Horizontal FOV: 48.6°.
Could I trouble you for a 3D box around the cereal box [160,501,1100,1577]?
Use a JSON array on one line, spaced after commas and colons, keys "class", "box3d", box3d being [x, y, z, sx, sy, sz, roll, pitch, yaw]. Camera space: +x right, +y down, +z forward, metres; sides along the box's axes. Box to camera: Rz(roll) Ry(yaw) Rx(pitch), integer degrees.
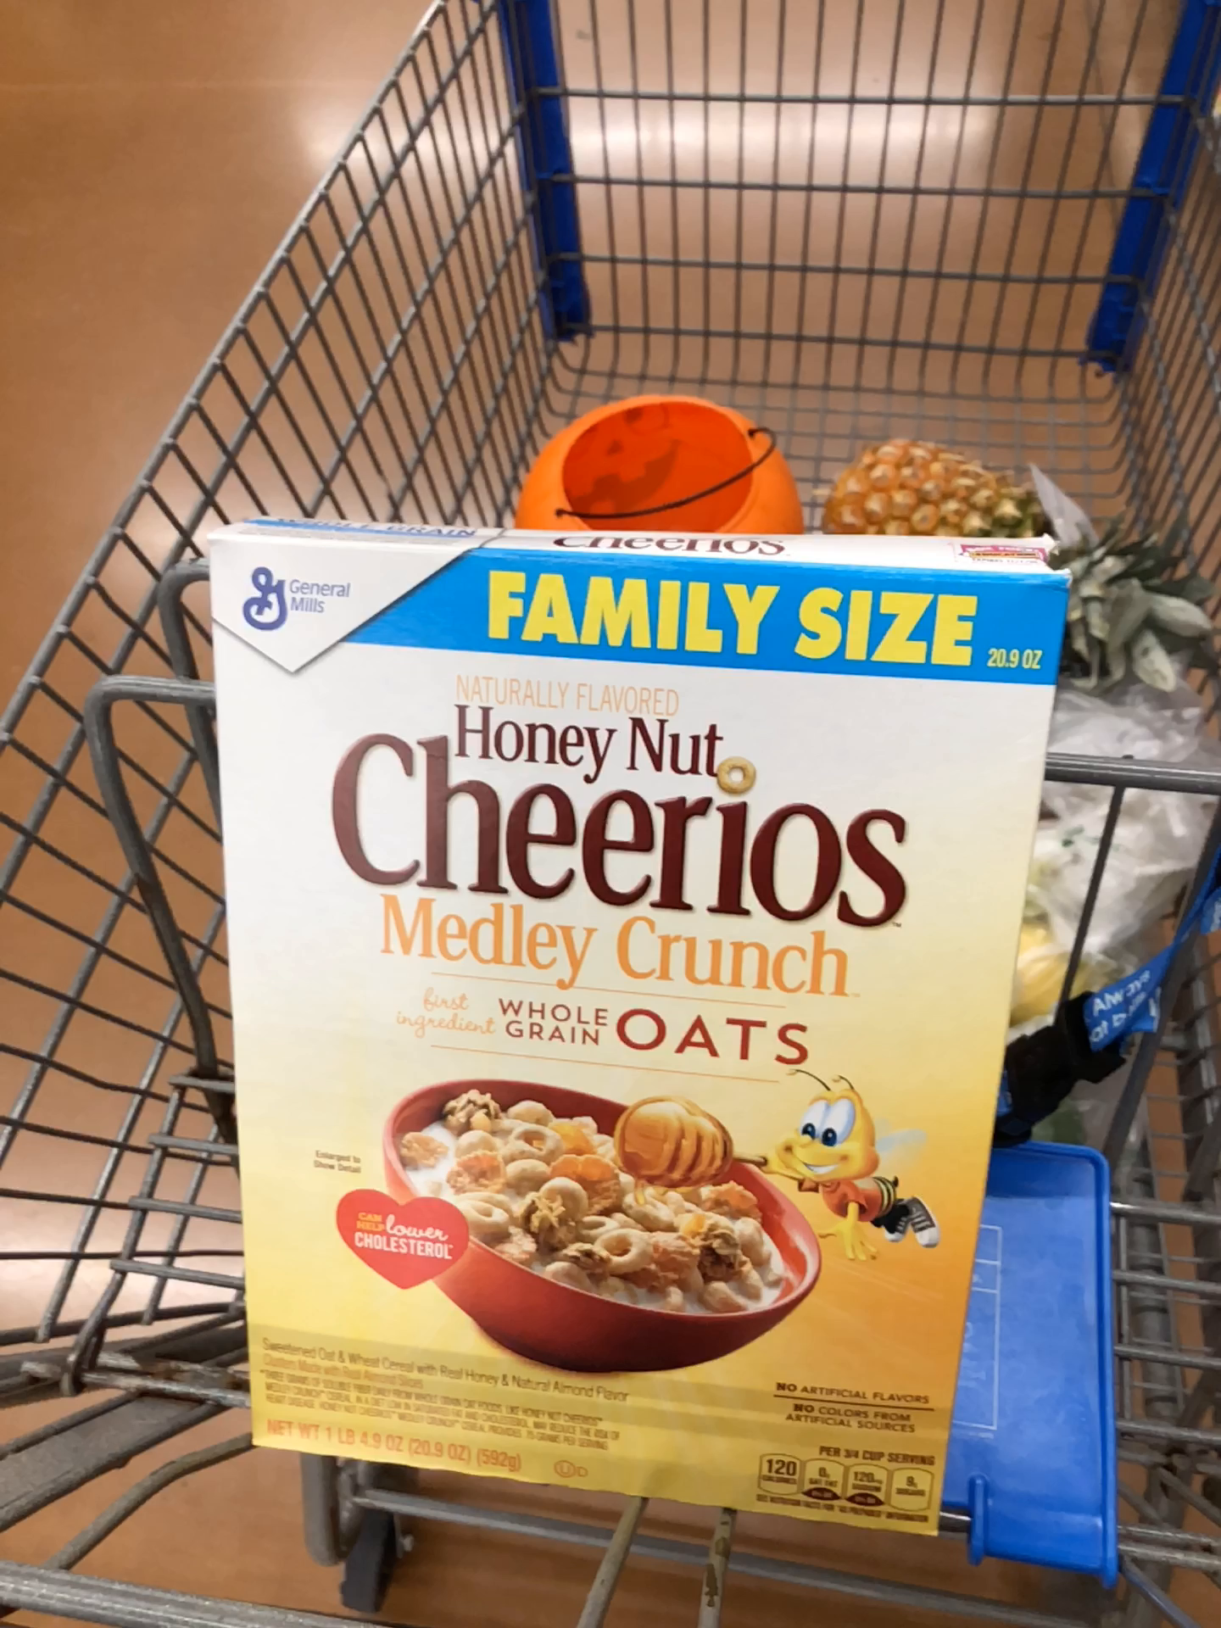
[{"class": "cereal box", "box3d": [-0.001, 0.070, 0.434, 0.250, 0.320, 0.070, 4, 16, 8]}]
